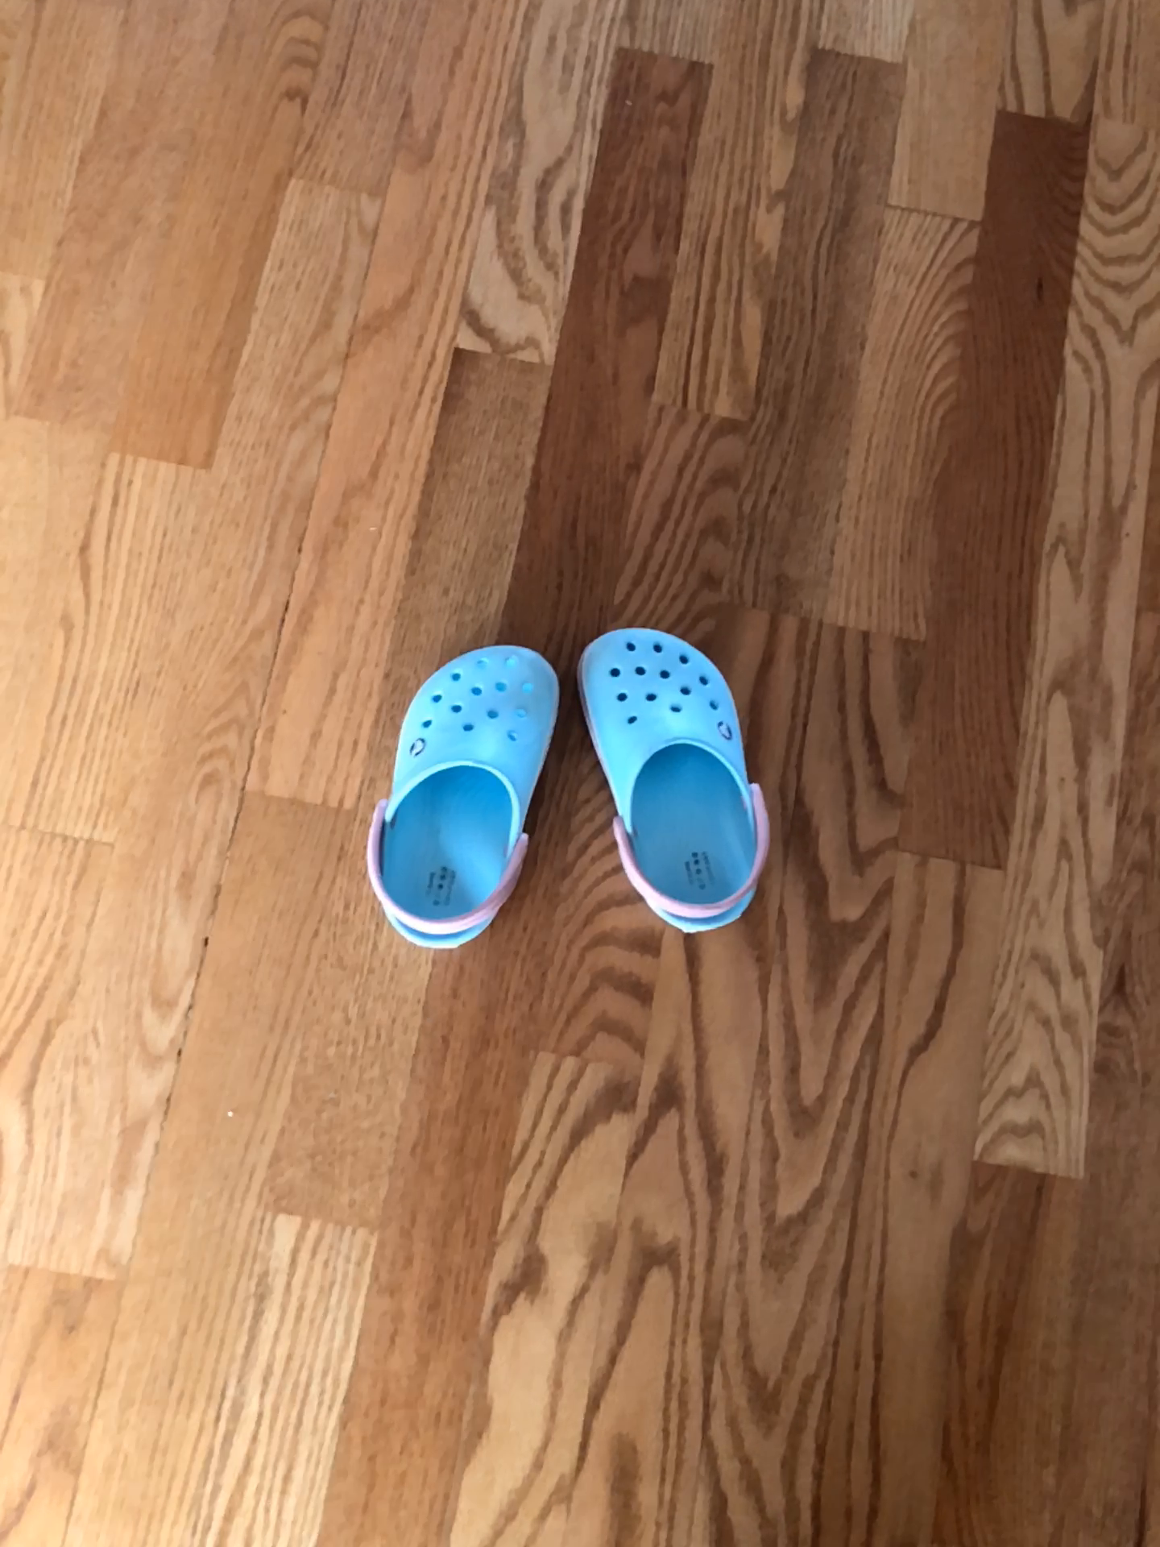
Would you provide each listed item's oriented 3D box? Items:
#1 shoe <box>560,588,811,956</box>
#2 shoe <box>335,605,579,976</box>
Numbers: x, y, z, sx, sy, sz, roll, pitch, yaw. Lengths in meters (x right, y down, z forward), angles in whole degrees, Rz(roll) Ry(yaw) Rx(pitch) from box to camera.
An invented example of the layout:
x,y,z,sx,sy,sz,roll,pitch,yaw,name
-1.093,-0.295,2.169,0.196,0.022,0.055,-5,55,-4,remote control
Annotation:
x,y,z,sx,sy,sz,roll,pitch,yaw,name
0.050,0.000,0.640,0.083,0.048,0.165,-12,79,-5,shoe
-0.059,0.010,0.636,0.083,0.057,0.165,12,78,0,shoe
